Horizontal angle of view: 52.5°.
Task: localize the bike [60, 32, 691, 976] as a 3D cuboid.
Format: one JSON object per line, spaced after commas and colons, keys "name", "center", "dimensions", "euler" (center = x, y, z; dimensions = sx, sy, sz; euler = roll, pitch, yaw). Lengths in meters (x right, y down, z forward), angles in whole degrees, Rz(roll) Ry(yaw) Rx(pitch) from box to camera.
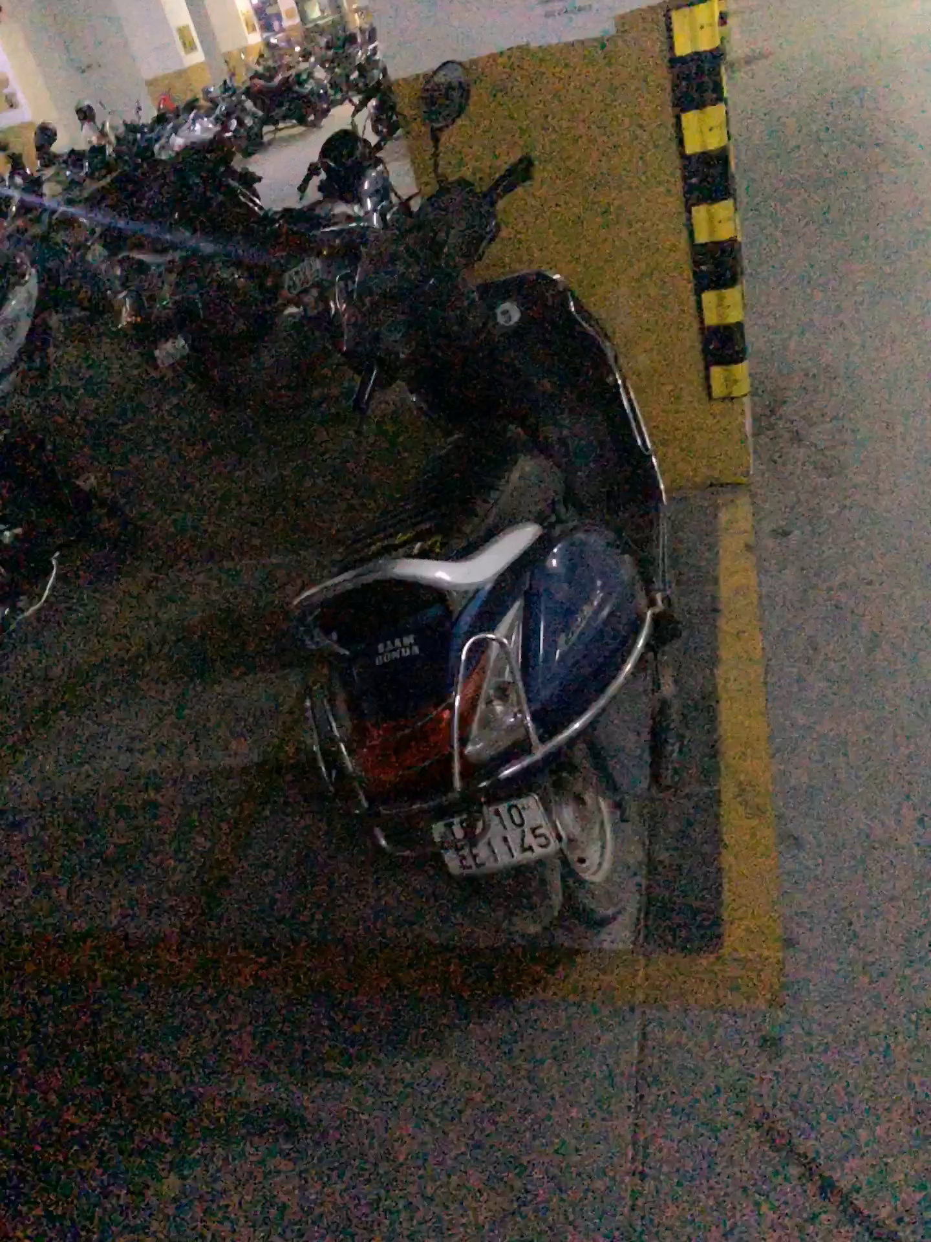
{"name": "bike", "center": [-0.079, -0.282, 1.835], "dimensions": [0.631, 1.063, 1.276], "euler": [-11, 39, 9]}
